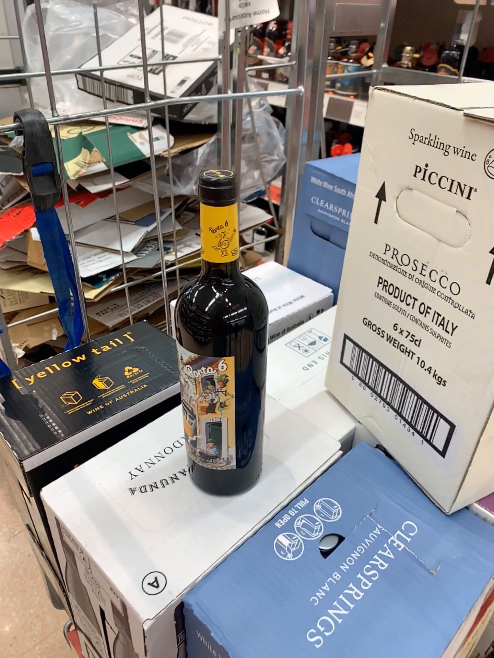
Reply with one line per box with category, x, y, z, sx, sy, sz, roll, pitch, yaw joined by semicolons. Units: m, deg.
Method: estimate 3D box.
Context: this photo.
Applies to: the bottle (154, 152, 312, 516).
bottle;-0.017;0.016;0.428;0.077;0.295;0.079;2;33;-1
